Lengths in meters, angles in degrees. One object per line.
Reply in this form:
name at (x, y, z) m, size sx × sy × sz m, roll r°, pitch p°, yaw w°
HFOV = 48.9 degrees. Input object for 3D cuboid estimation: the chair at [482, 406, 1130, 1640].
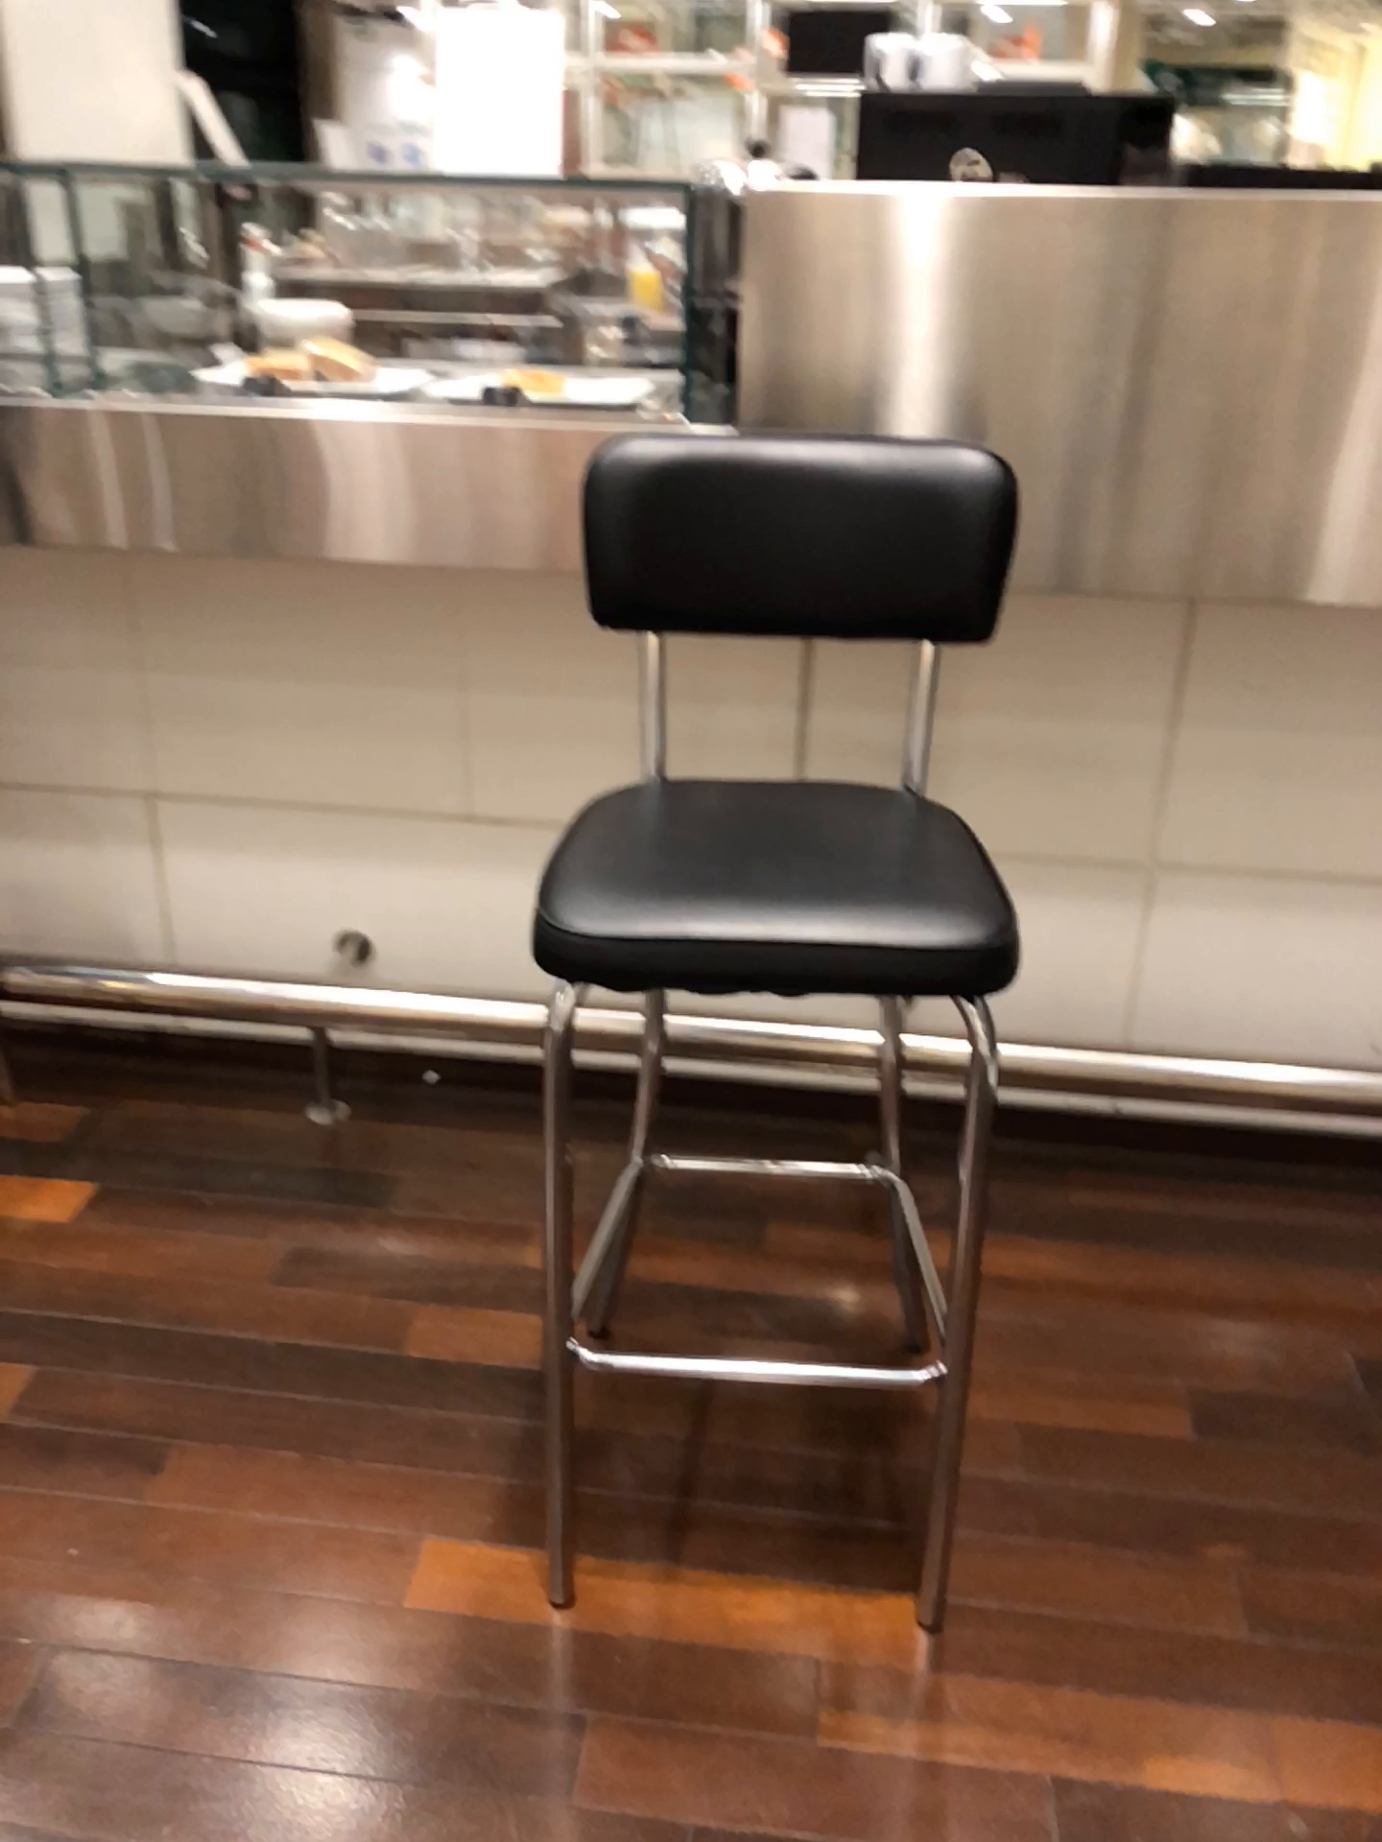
chair at (0.077, 0.087, 1.408) m, size 0.420 × 1.013 × 0.473 m, roll 2°, pitch 24°, yaw 3°
